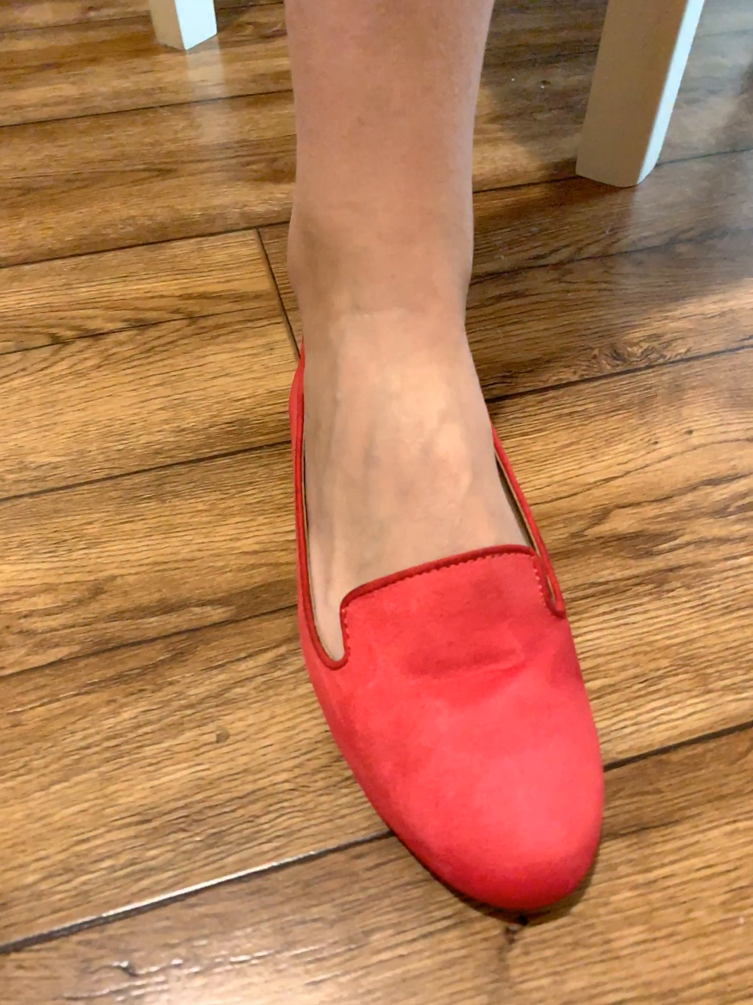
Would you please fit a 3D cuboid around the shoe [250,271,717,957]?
[{"bbox_3d":[0.014,0.016,0.265,0.086,0.060,0.221,-9,51,-7],"label":"shoe"}]
